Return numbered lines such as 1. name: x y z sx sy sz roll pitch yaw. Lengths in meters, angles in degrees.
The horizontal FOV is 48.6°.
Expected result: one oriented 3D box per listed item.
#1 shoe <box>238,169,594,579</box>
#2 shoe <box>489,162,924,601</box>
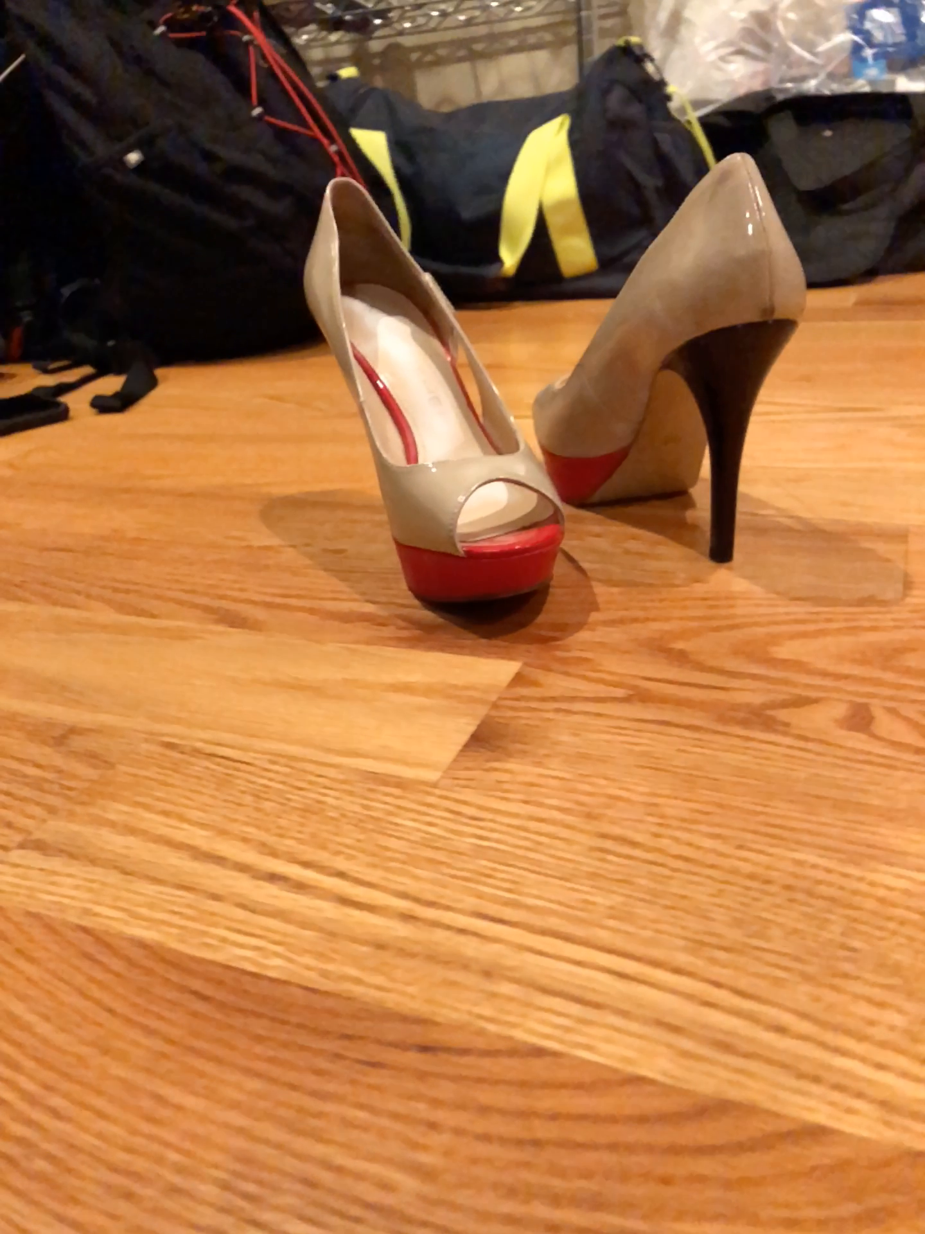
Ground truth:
1. shoe: -0.030 -0.122 0.451 0.085 0.129 0.216 -13 26 -15
2. shoe: 0.097 -0.123 0.473 0.080 0.149 0.221 -14 26 -17
